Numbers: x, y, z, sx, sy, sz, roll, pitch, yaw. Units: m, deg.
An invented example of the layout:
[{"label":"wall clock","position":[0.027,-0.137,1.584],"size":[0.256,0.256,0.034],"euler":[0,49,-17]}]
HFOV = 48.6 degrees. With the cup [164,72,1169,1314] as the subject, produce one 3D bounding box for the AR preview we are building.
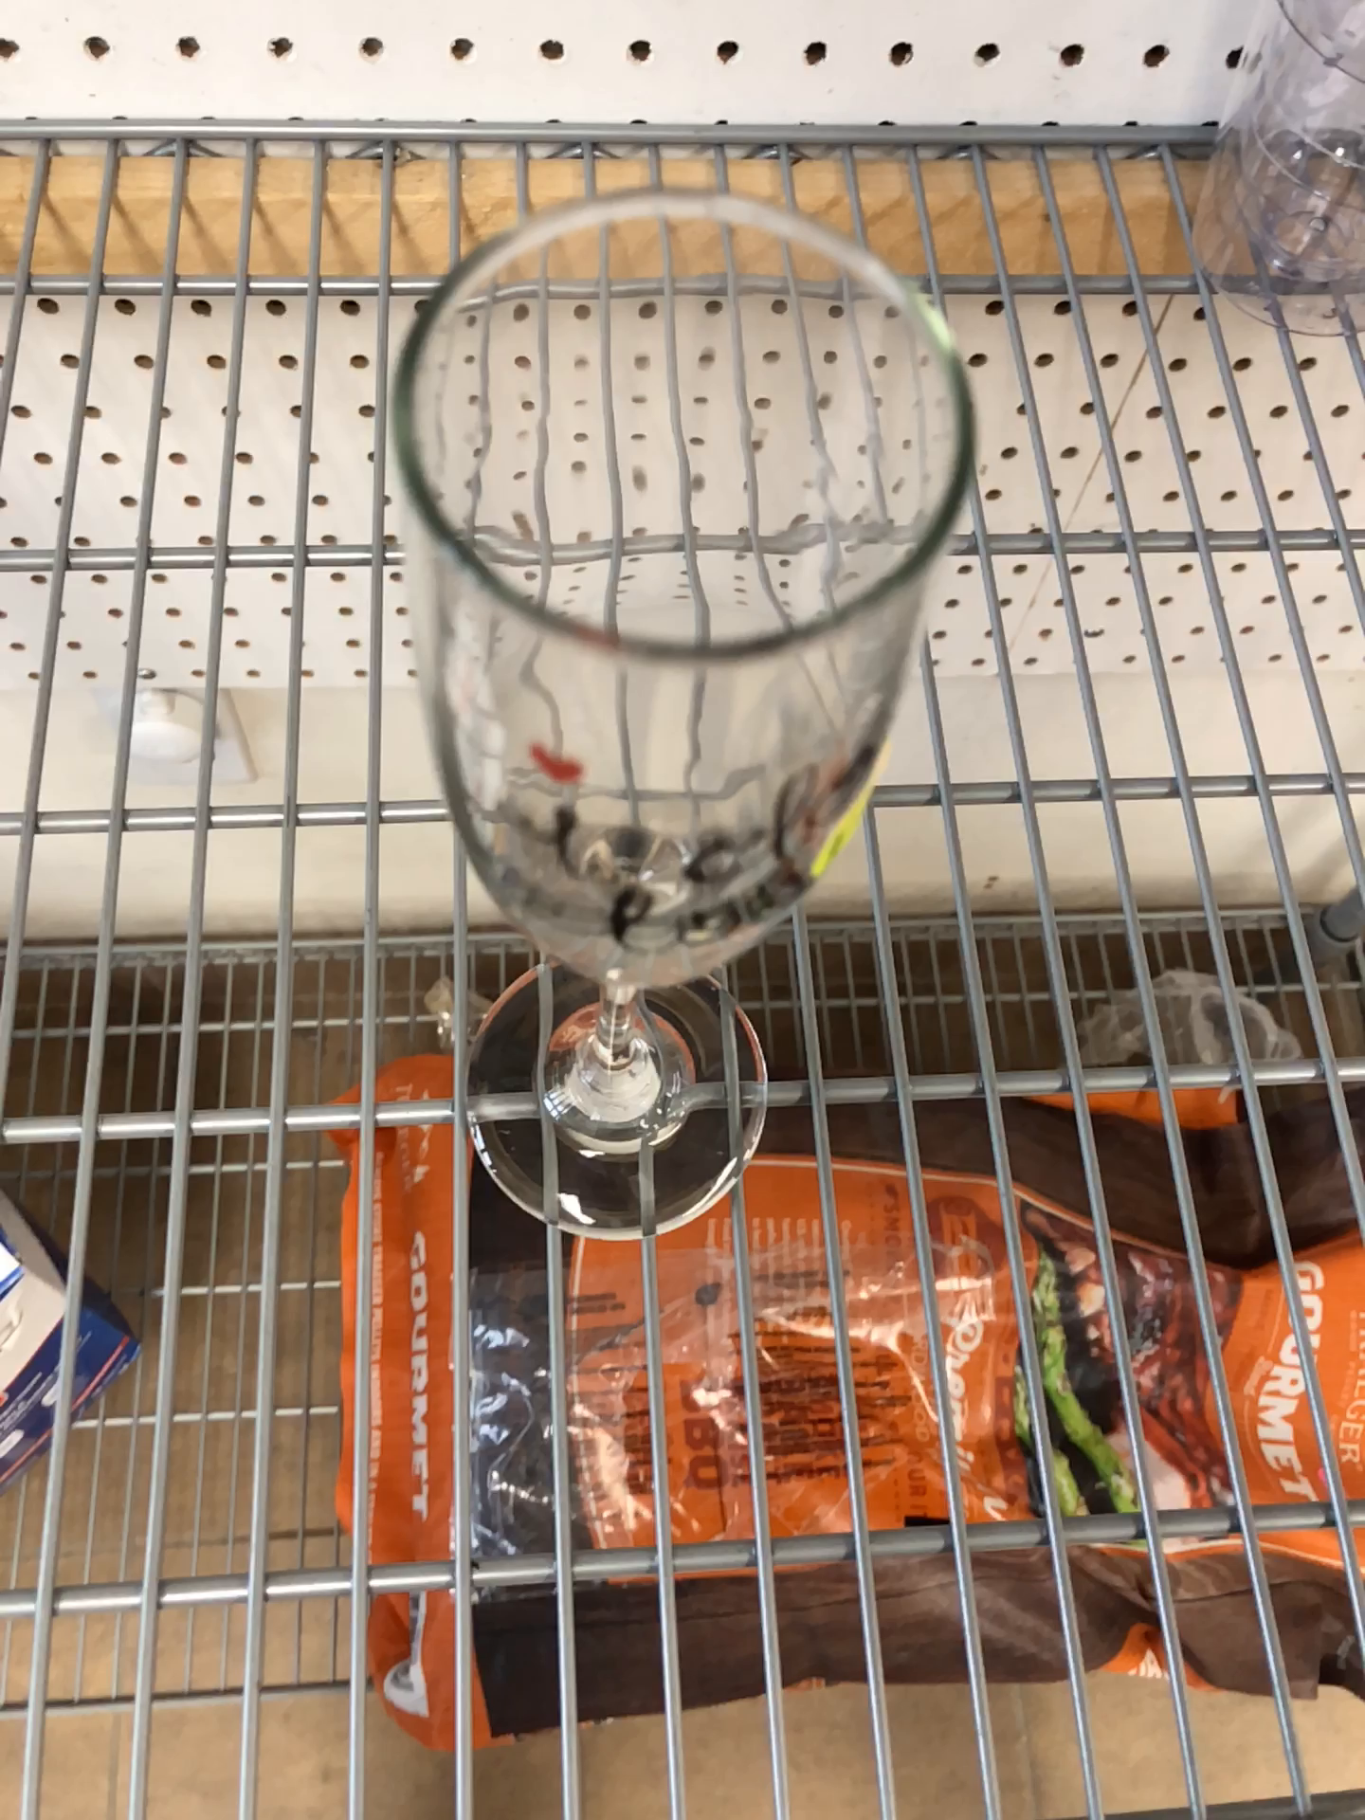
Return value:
[{"label":"cup","position":[-0.011,0.000,0.222],"size":[0.070,0.210,0.069],"euler":[2,66,-3]}]
